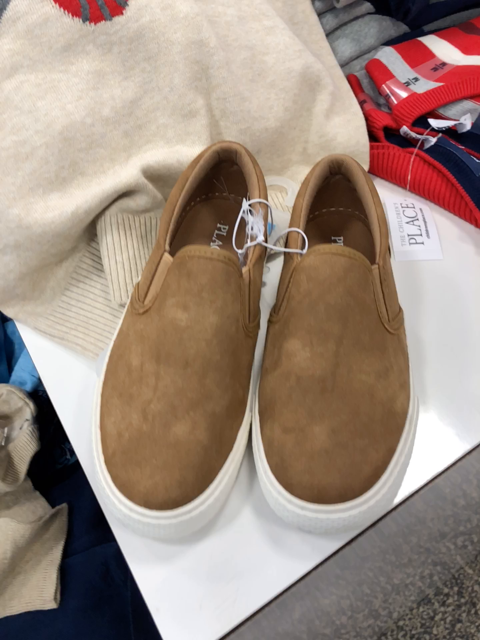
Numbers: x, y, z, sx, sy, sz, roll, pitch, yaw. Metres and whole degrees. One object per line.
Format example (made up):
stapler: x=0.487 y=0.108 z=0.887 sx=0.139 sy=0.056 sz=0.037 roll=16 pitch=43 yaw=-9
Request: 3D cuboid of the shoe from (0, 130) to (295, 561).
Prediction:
shoe: x=-0.030 y=-0.005 z=0.299 sx=0.092 sy=0.080 sz=0.230 roll=6 pitch=52 yaw=10

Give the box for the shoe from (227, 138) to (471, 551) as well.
shoe: x=0.055 y=-0.003 z=0.307 sx=0.092 sy=0.080 sz=0.230 roll=2 pitch=52 yaw=7
